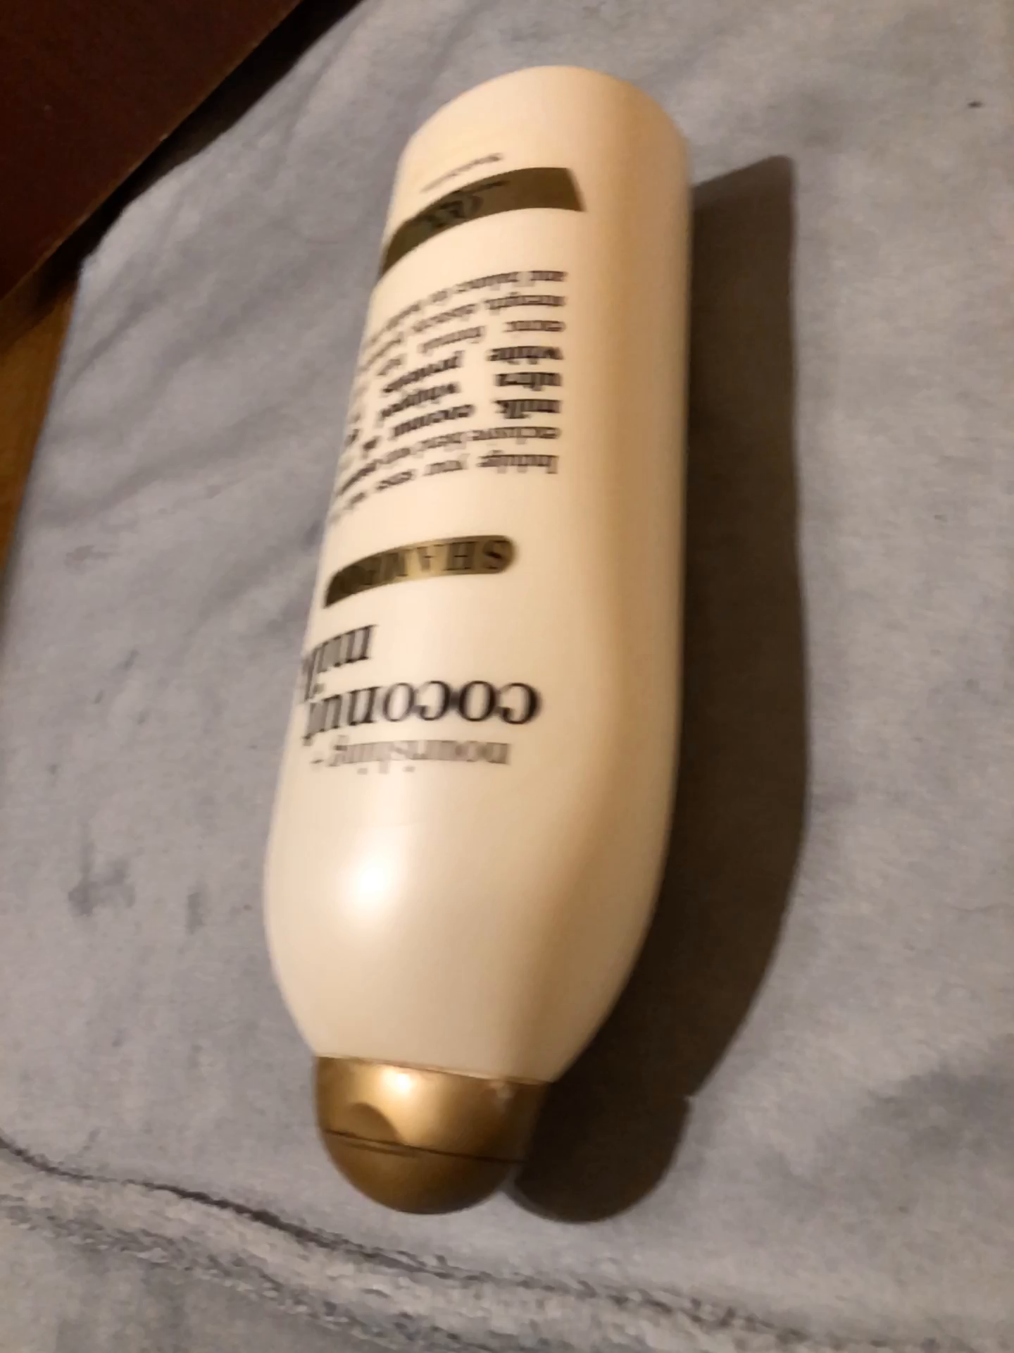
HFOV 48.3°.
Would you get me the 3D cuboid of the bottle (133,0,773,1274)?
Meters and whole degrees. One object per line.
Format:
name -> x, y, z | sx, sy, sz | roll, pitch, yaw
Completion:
bottle -> -0.003, -0.020, 0.210 | 0.080, 0.040, 0.220 | -9, 64, 40
